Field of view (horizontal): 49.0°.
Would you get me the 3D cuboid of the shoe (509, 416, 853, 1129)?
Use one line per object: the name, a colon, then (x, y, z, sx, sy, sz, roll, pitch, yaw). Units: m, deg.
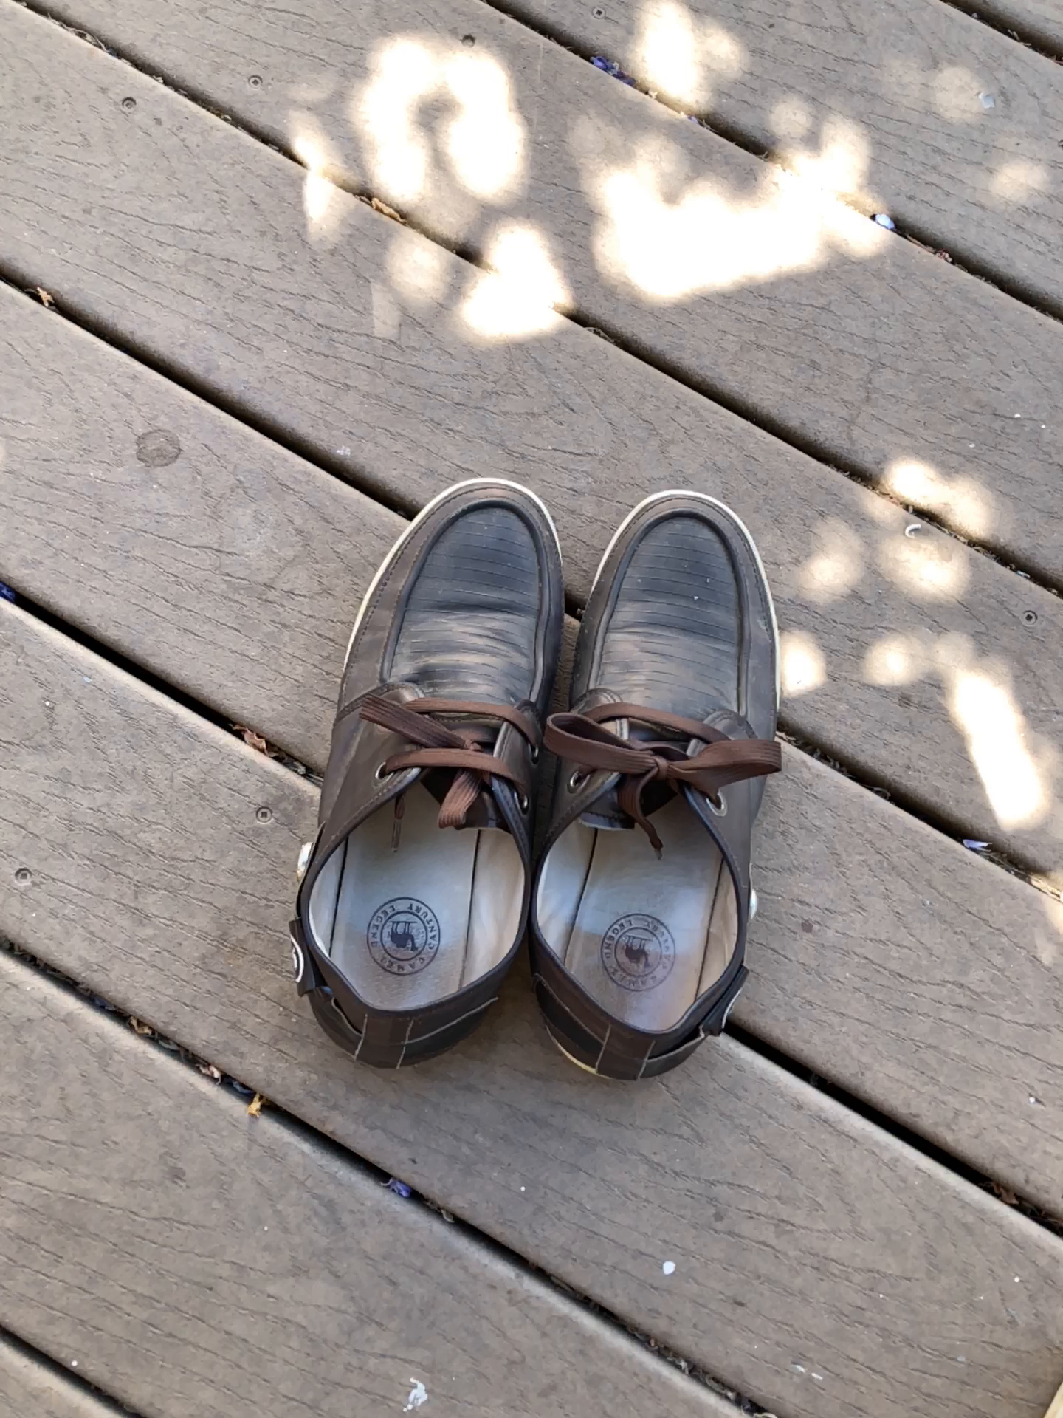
shoe: (0.066, 0.028, 0.543, 0.107, 0.105, 0.289, 9, 79, -2)

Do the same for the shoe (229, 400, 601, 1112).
shoe: (-0.048, 0.022, 0.546, 0.107, 0.115, 0.287, 10, 79, -2)
